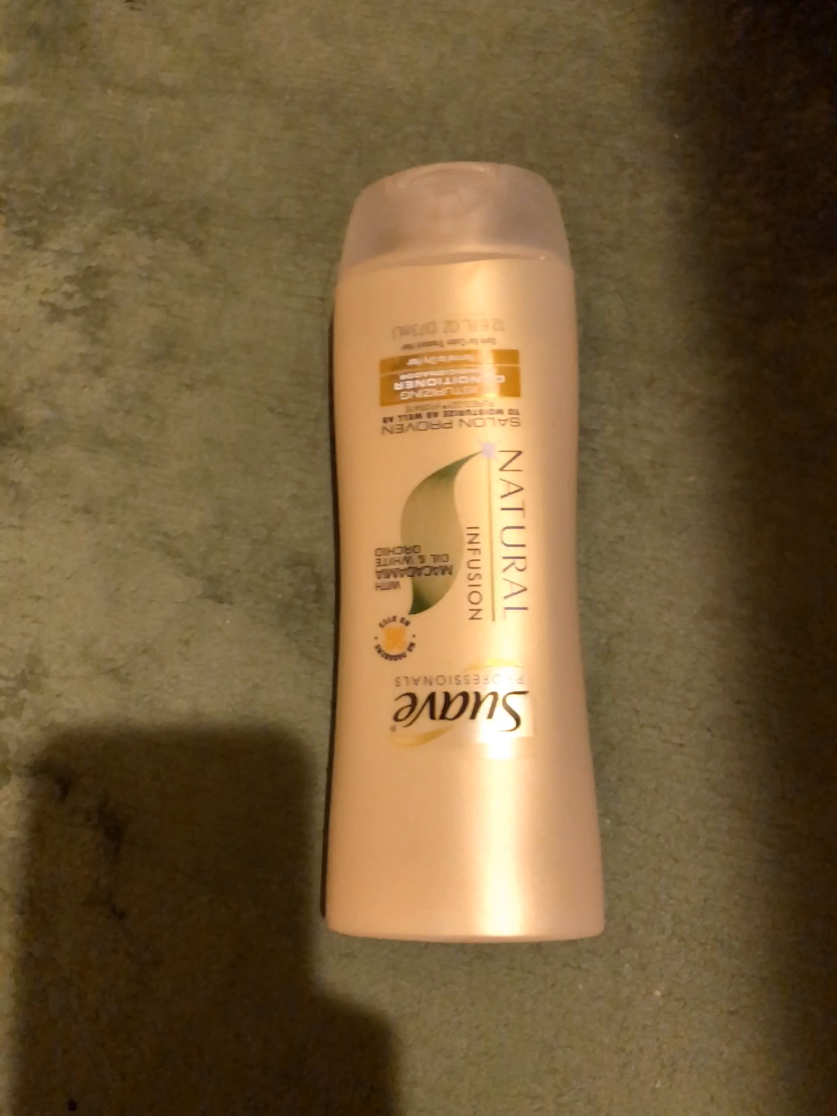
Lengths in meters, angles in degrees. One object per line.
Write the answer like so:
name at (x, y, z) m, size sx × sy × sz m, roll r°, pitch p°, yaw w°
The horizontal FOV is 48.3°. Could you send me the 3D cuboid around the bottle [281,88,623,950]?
bottle at (0.009, -0.013, 0.262) m, size 0.080 × 0.050 × 0.220 m, roll -2°, pitch 79°, yaw 8°
